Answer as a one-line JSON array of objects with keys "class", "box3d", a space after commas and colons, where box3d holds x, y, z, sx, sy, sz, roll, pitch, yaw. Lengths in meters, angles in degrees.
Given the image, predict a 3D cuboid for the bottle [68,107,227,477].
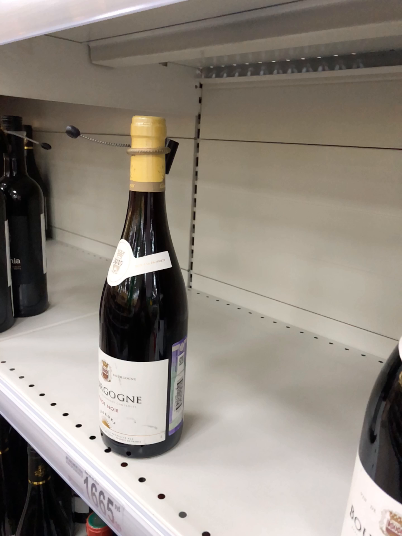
[{"class": "bottle", "box3d": [-0.051, 0.016, 0.391, 0.090, 0.289, 0.090, 3, 15, -1]}]
